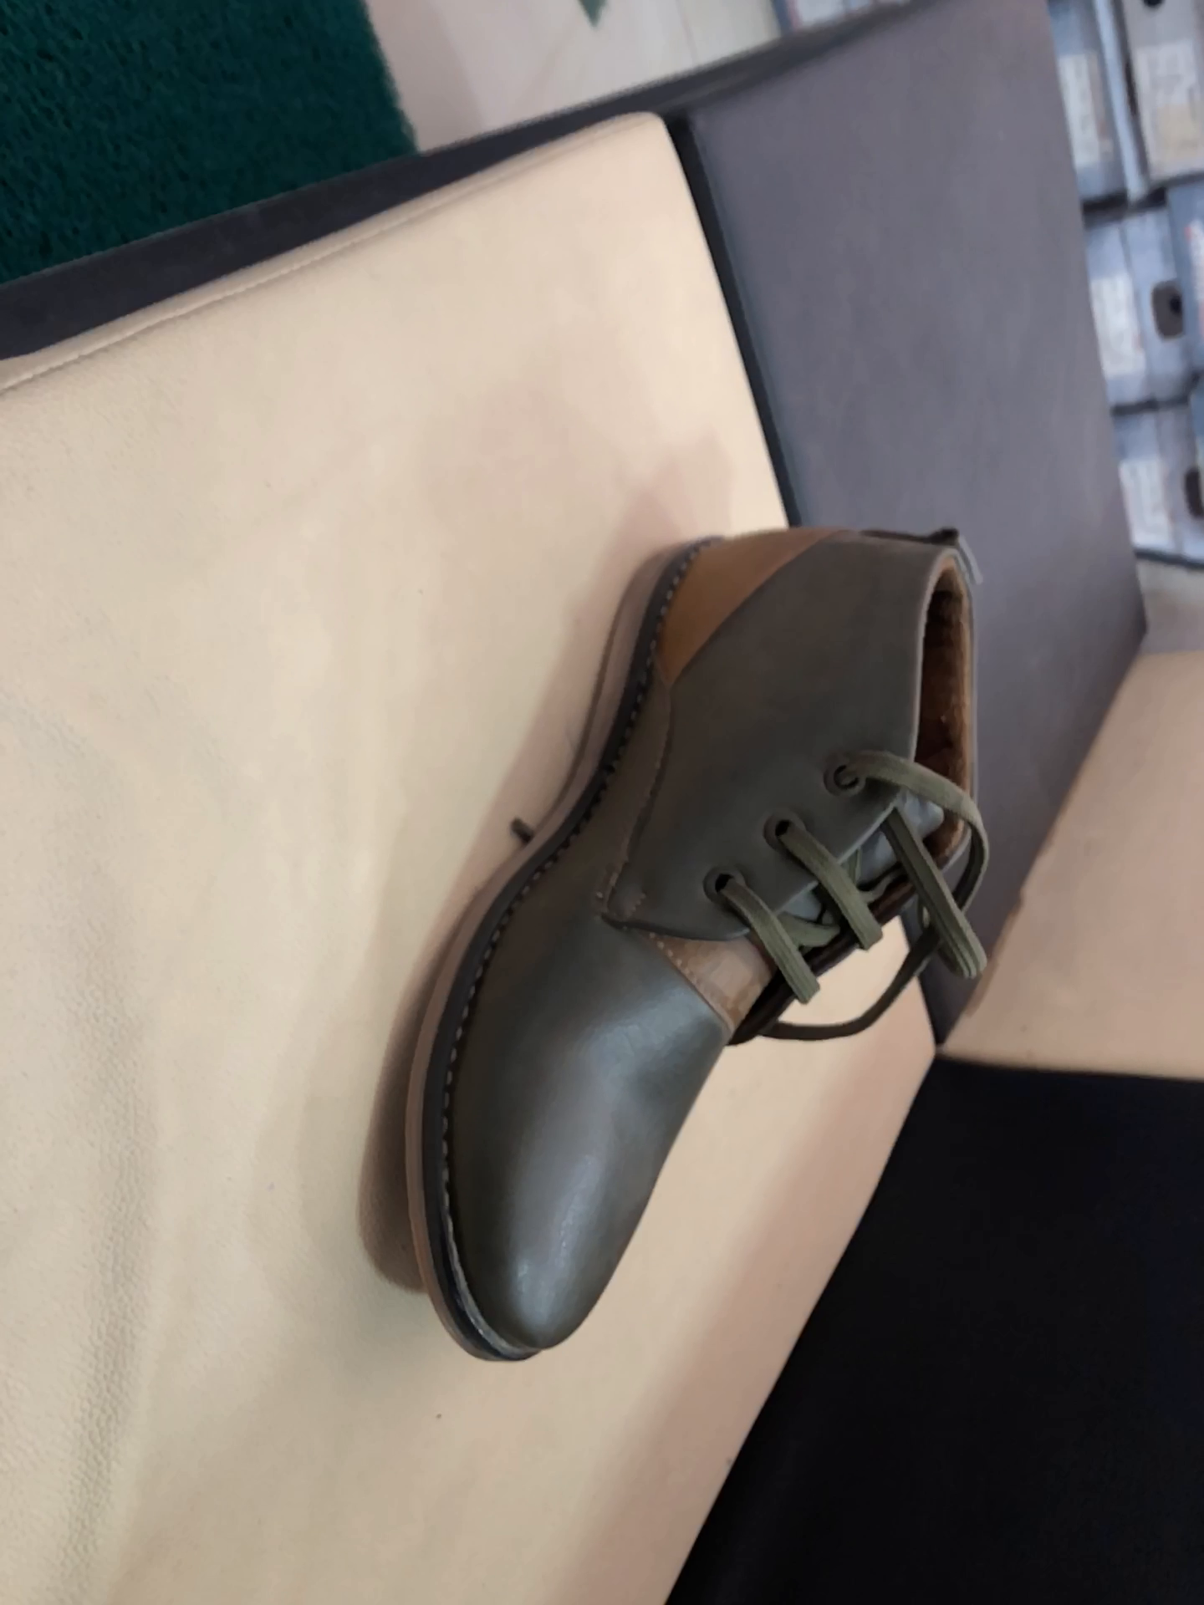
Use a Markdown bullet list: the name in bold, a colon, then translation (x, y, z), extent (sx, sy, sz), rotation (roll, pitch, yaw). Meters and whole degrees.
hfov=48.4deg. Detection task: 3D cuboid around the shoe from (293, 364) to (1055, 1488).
- **shoe**: translation (0.037, 0.016, 0.367), extent (0.081, 0.099, 0.281), rotation (49, 53, -42)
